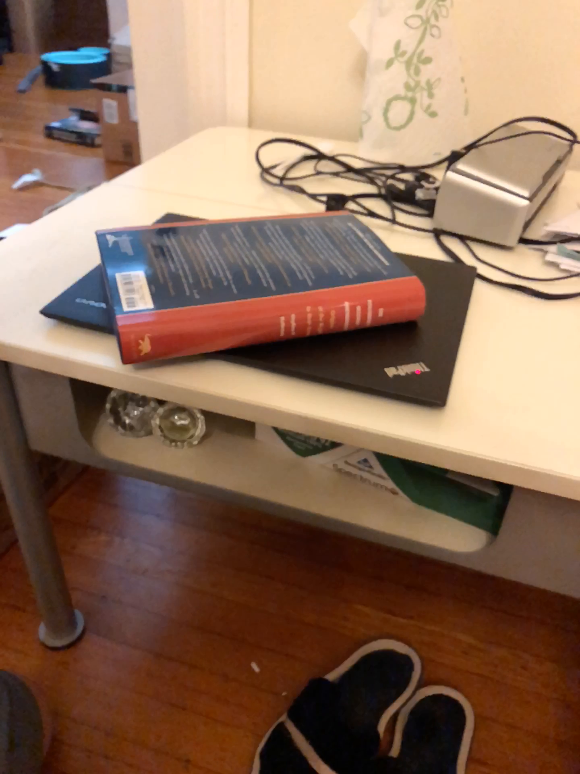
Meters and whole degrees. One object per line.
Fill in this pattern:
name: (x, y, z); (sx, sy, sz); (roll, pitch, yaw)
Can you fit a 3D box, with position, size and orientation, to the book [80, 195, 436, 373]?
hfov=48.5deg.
book: (-0.035, -0.094, 0.512); (0.240, 0.040, 0.171); (-11, 36, -15)
